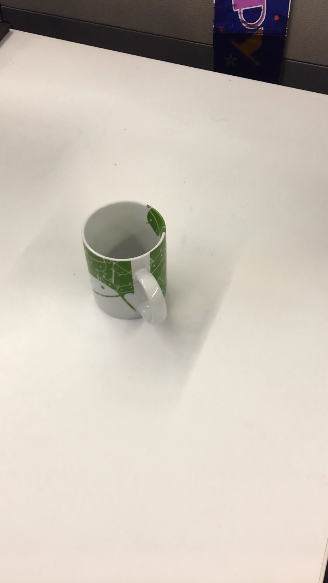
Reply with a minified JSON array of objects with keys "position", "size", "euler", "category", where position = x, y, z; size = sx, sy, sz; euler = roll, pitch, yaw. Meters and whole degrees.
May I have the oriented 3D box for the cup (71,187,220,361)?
[{"position":[-0.019,-0.019,0.482],"size":[0.090,0.090,0.120],"euler":[-25,56,-17],"category":"cup"}]
